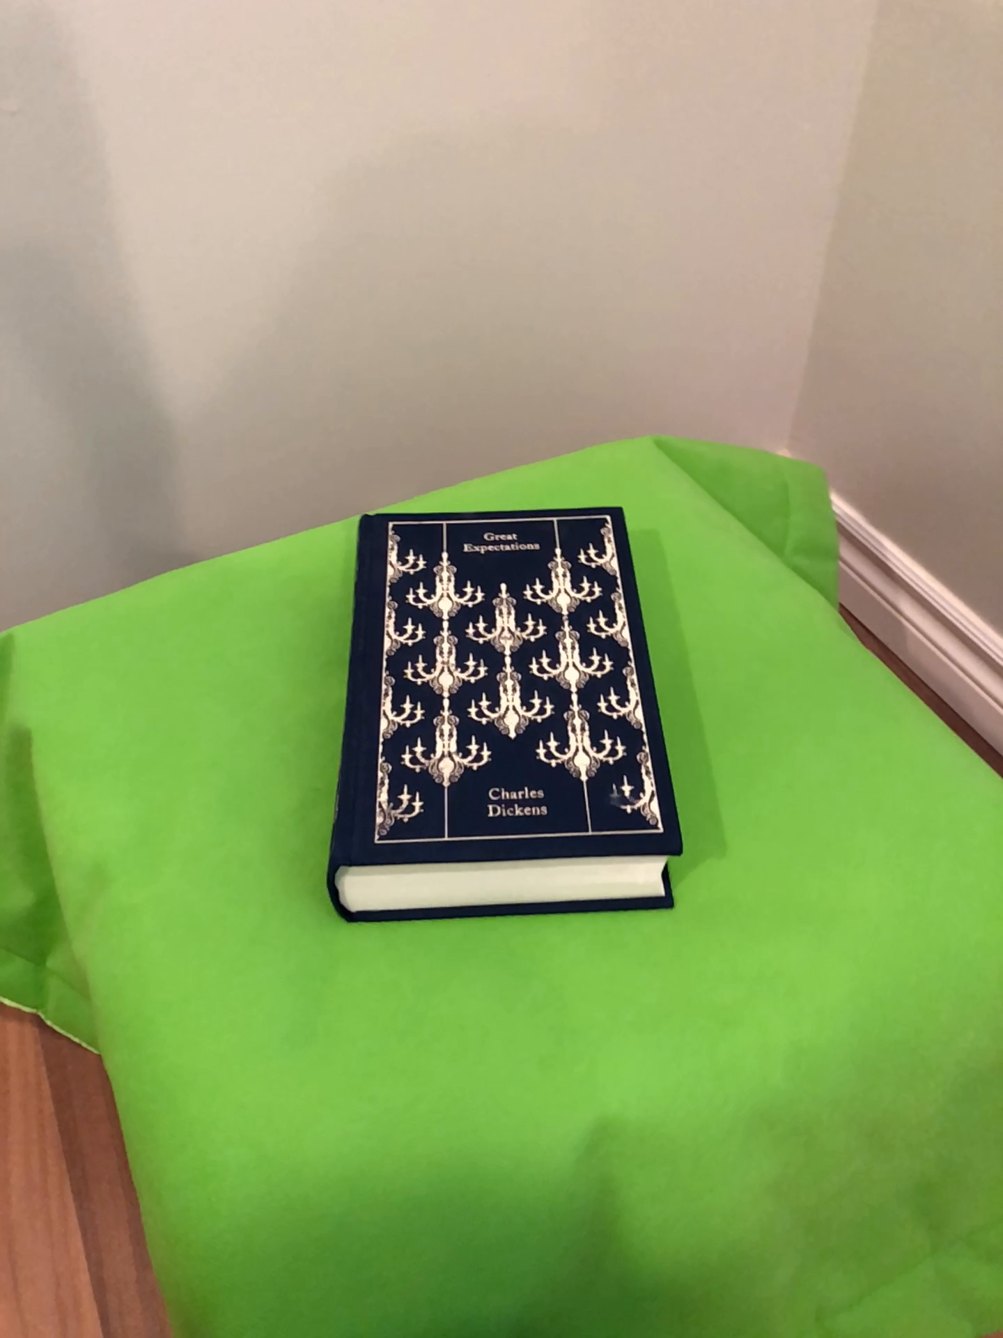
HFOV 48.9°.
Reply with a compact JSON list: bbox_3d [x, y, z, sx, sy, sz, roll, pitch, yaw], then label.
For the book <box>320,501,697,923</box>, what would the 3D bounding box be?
[{"bbox_3d":[-0.001,0.008,0.497,0.140,0.040,0.211,-2,47,-1],"label":"book"}]
